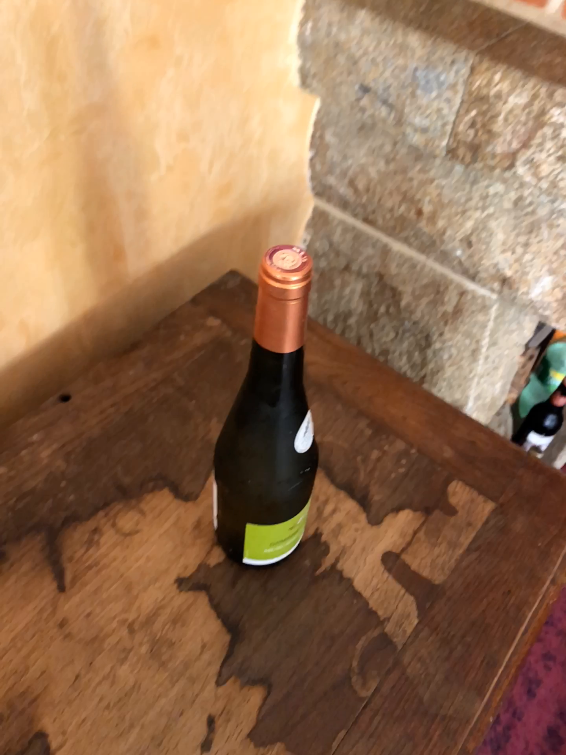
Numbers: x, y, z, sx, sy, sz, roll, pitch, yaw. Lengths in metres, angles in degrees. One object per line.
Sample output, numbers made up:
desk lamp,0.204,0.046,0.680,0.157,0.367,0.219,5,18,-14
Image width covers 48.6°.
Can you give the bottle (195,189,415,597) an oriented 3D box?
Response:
bottle,0.000,0.037,0.440,0.080,0.308,0.091,28,52,16
